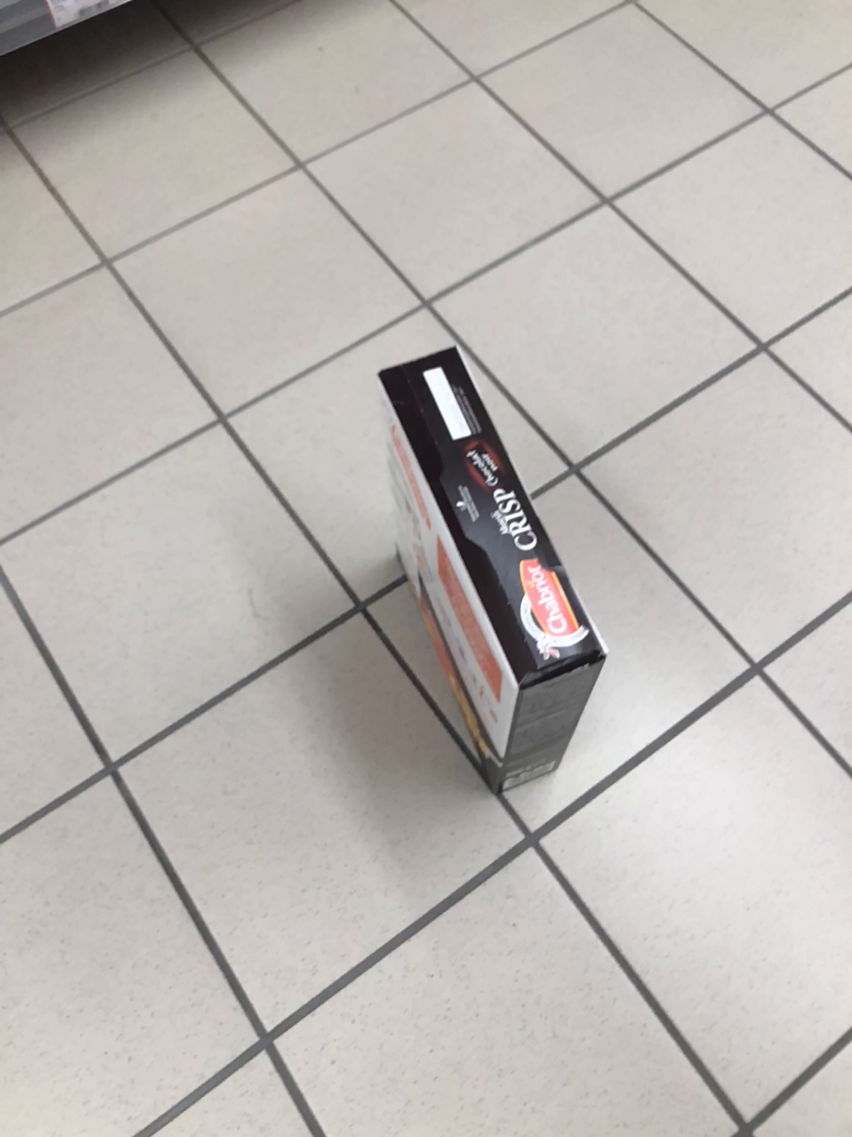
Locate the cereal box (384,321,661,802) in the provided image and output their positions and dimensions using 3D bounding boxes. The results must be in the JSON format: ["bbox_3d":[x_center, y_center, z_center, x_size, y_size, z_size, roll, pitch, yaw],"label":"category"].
[{"bbox_3d":[0.043,0.010,0.565,0.060,0.229,0.200,-19,66,-9],"label":"cereal box"}]
